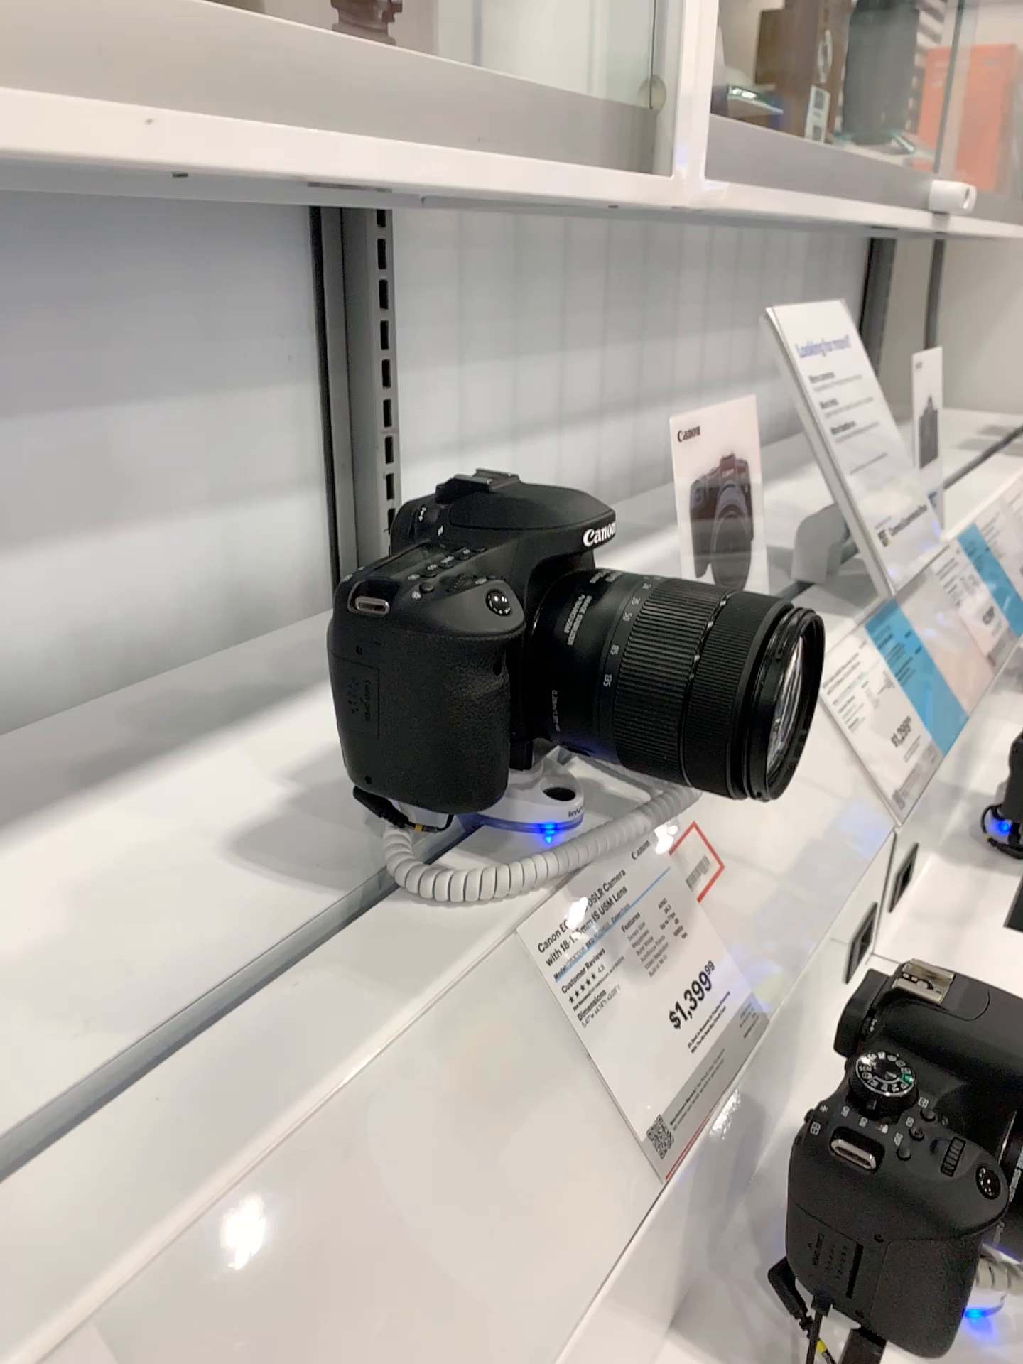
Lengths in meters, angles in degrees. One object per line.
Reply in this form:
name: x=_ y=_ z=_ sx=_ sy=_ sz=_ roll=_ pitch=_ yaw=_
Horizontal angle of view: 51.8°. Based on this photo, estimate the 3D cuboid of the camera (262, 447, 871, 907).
camera: x=0.026 y=-0.020 z=0.398 sx=0.170 sy=0.100 sz=0.151 roll=12 pitch=25 yaw=27
